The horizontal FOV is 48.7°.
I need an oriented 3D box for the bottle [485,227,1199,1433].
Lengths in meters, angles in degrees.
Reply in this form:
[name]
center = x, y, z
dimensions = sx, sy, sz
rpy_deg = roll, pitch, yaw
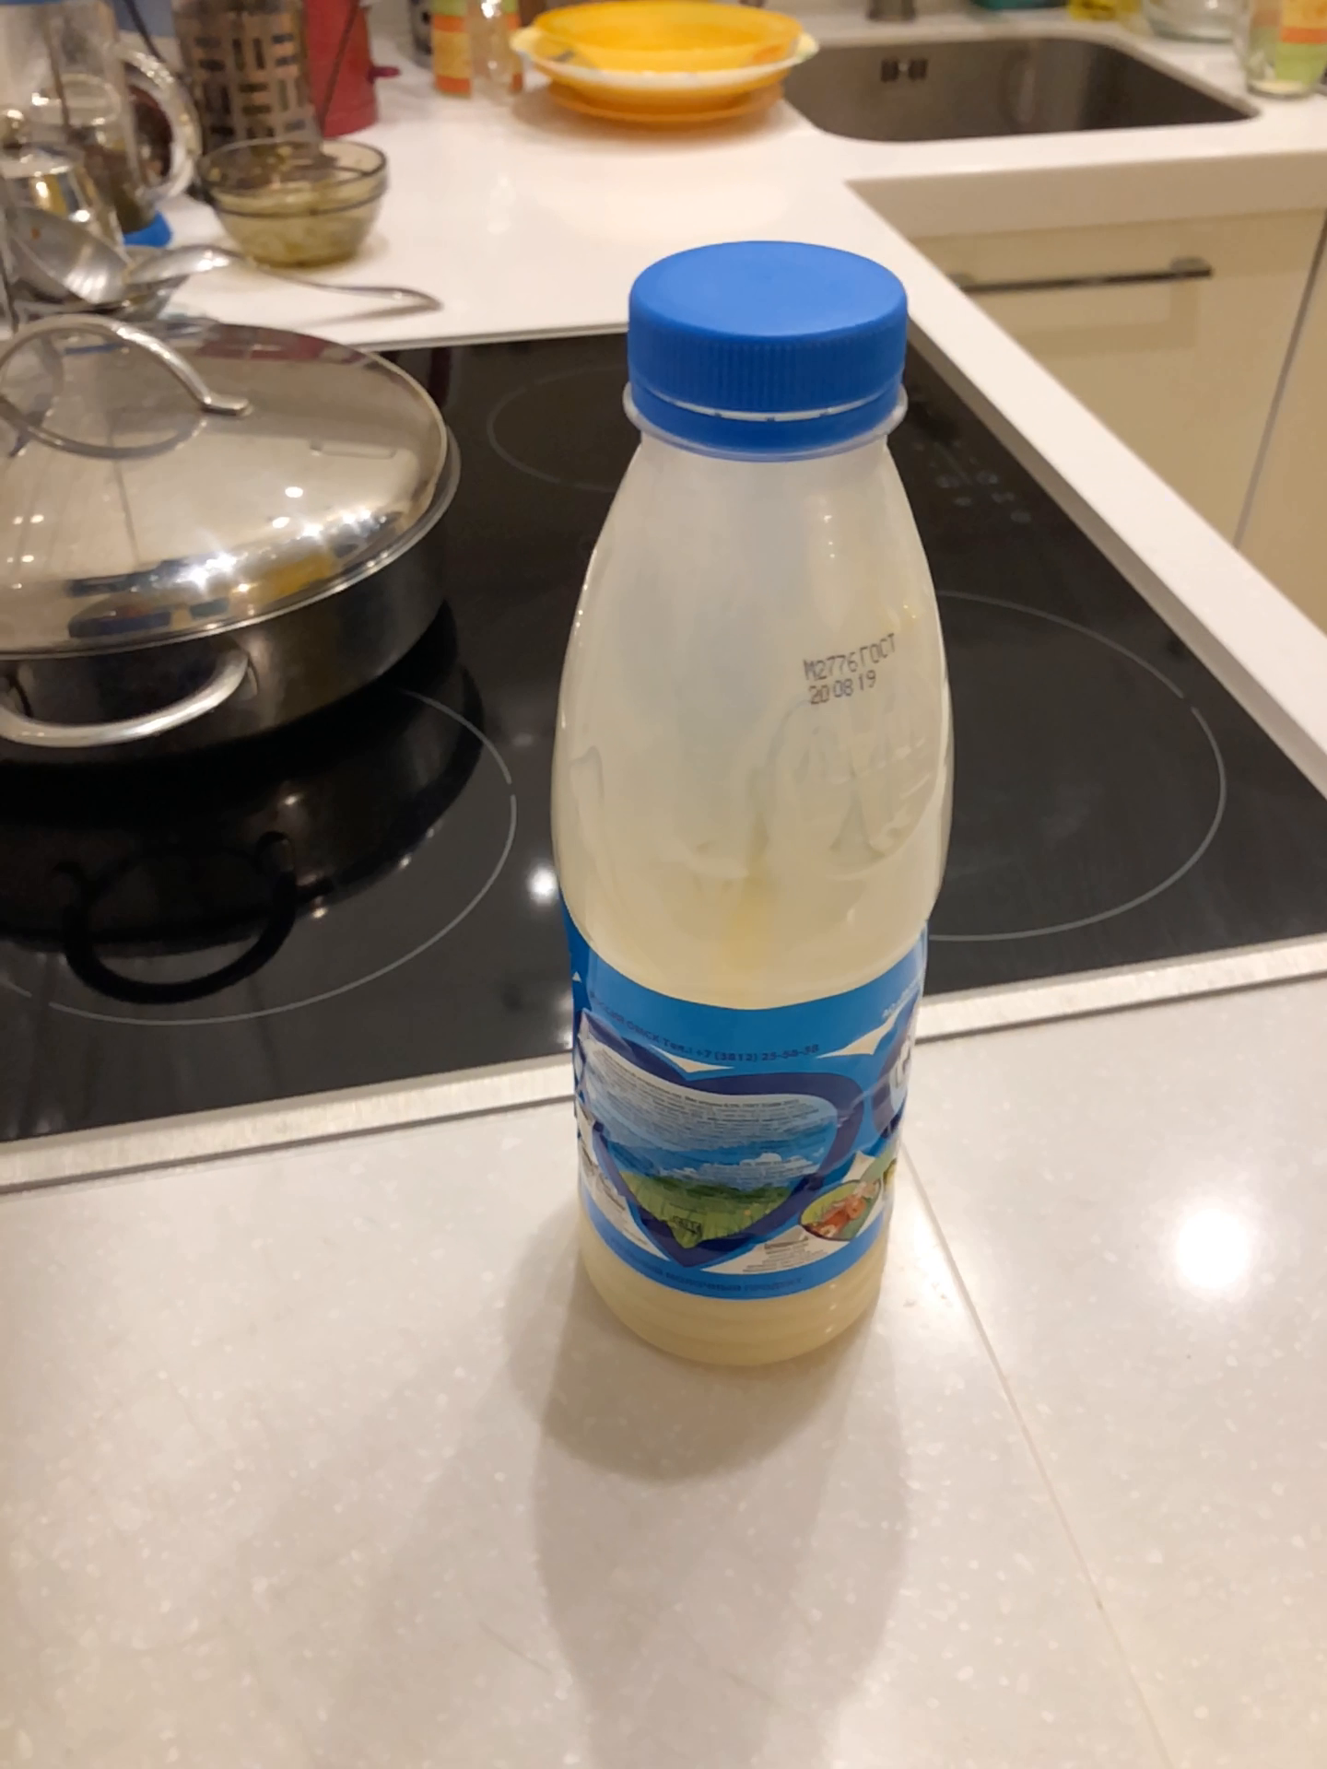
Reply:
[bottle]
center = 0.019, 0.003, 0.276
dimensions = 0.080, 0.213, 0.081
rpy_deg = 0, 40, 0
